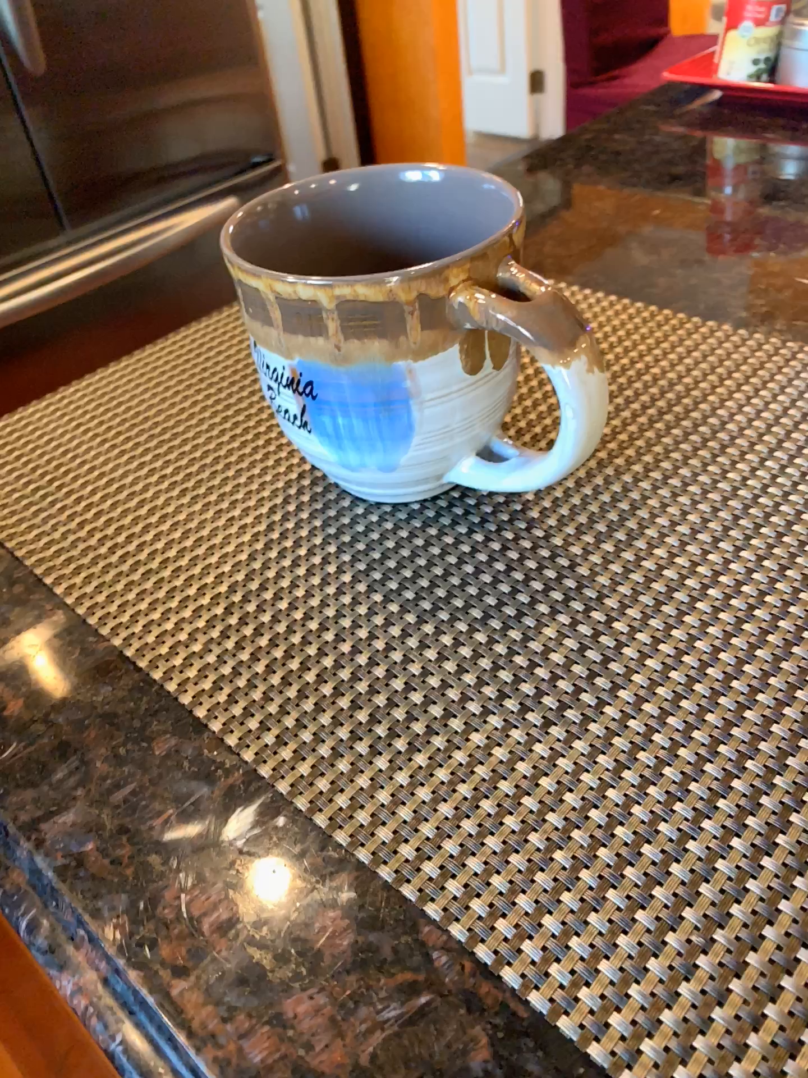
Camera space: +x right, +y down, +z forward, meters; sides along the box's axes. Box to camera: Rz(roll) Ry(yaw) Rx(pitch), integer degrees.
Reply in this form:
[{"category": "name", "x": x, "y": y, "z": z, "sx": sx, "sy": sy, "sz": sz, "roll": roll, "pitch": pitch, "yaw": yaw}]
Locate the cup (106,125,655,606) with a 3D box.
[{"category": "cup", "x": -0.011, "y": -0.071, "z": 0.290, "sx": 0.100, "sy": 0.090, "sz": 0.151, "roll": -33, "pitch": 46, "yaw": -26}]
